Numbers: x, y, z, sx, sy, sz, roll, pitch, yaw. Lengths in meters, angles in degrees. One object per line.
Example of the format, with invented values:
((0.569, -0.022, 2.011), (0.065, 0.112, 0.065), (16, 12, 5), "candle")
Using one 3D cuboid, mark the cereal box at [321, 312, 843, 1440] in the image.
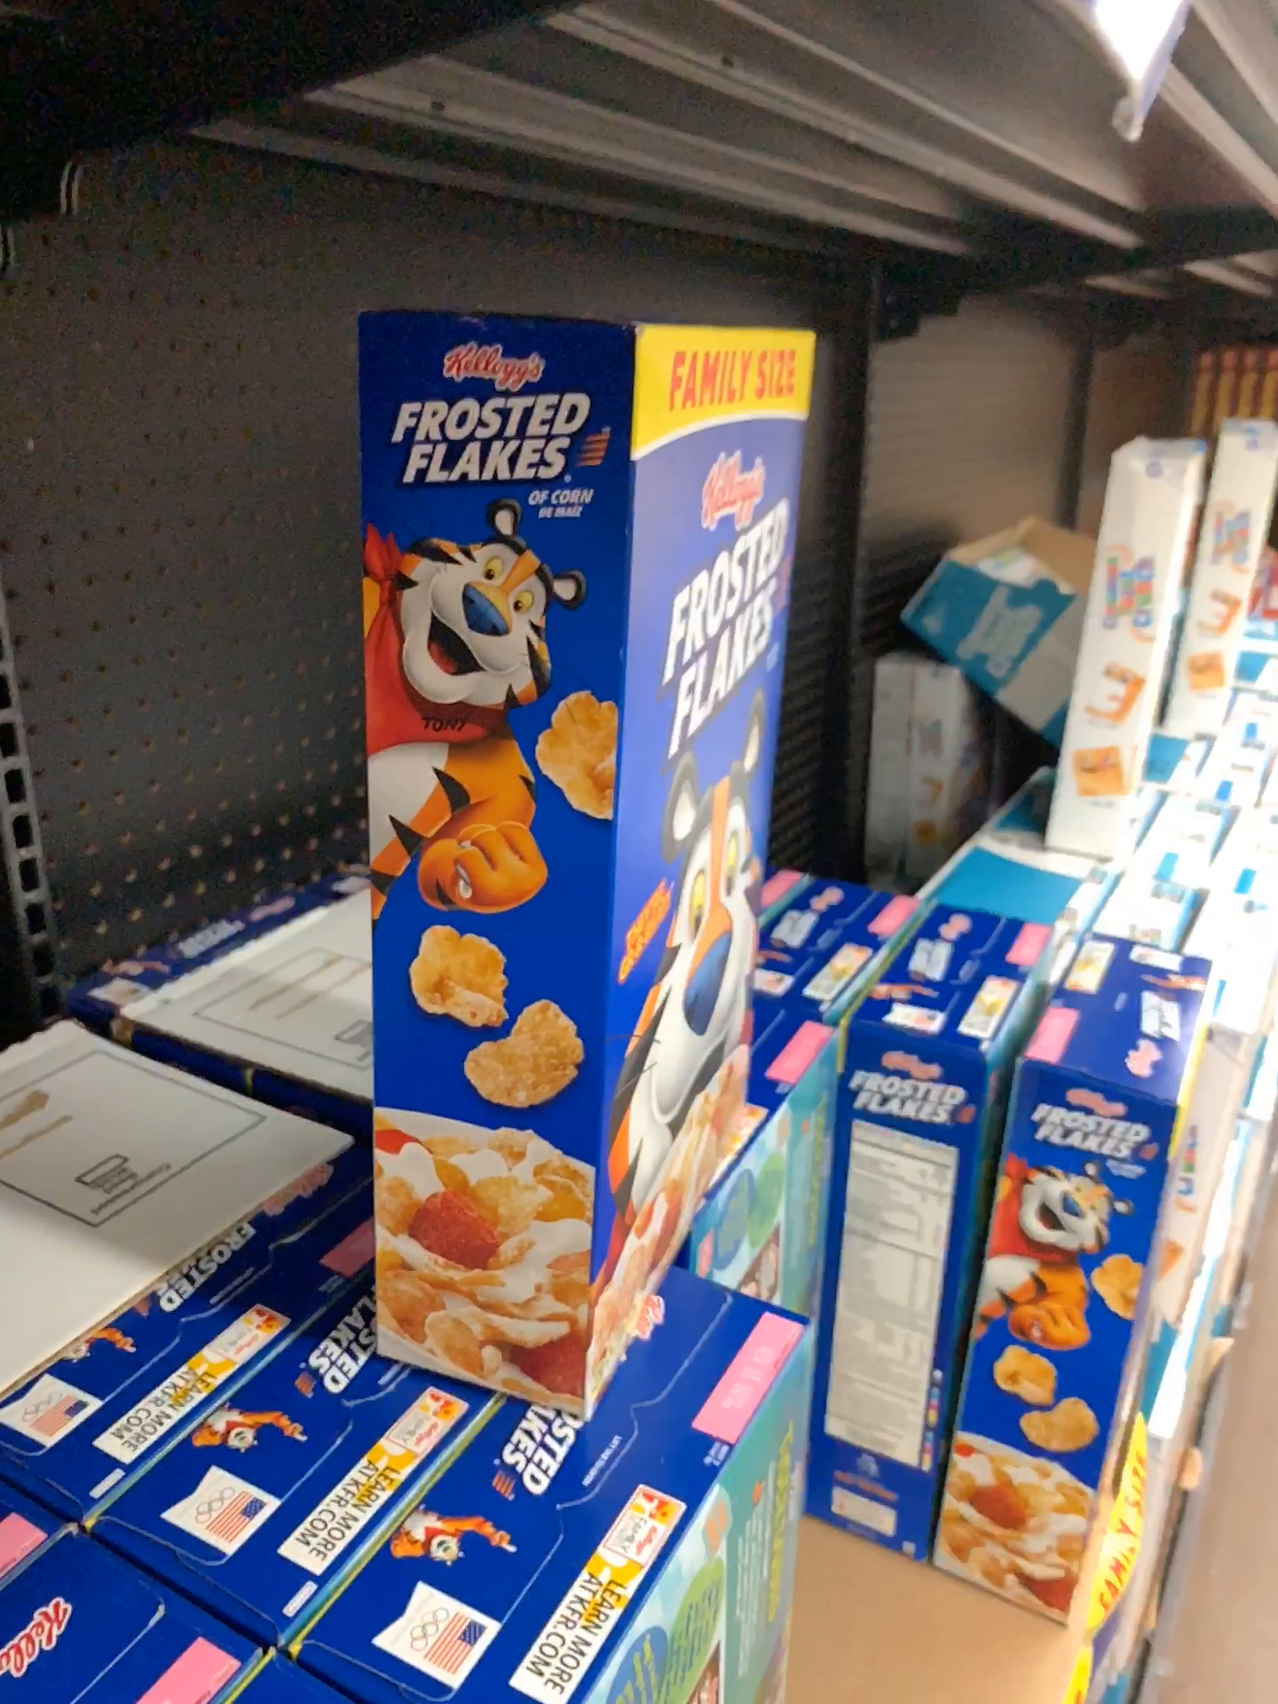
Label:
((-0.010, -0.009, 0.457), (0.080, 0.319, 0.211), (11, 22, 19), "cereal box")
